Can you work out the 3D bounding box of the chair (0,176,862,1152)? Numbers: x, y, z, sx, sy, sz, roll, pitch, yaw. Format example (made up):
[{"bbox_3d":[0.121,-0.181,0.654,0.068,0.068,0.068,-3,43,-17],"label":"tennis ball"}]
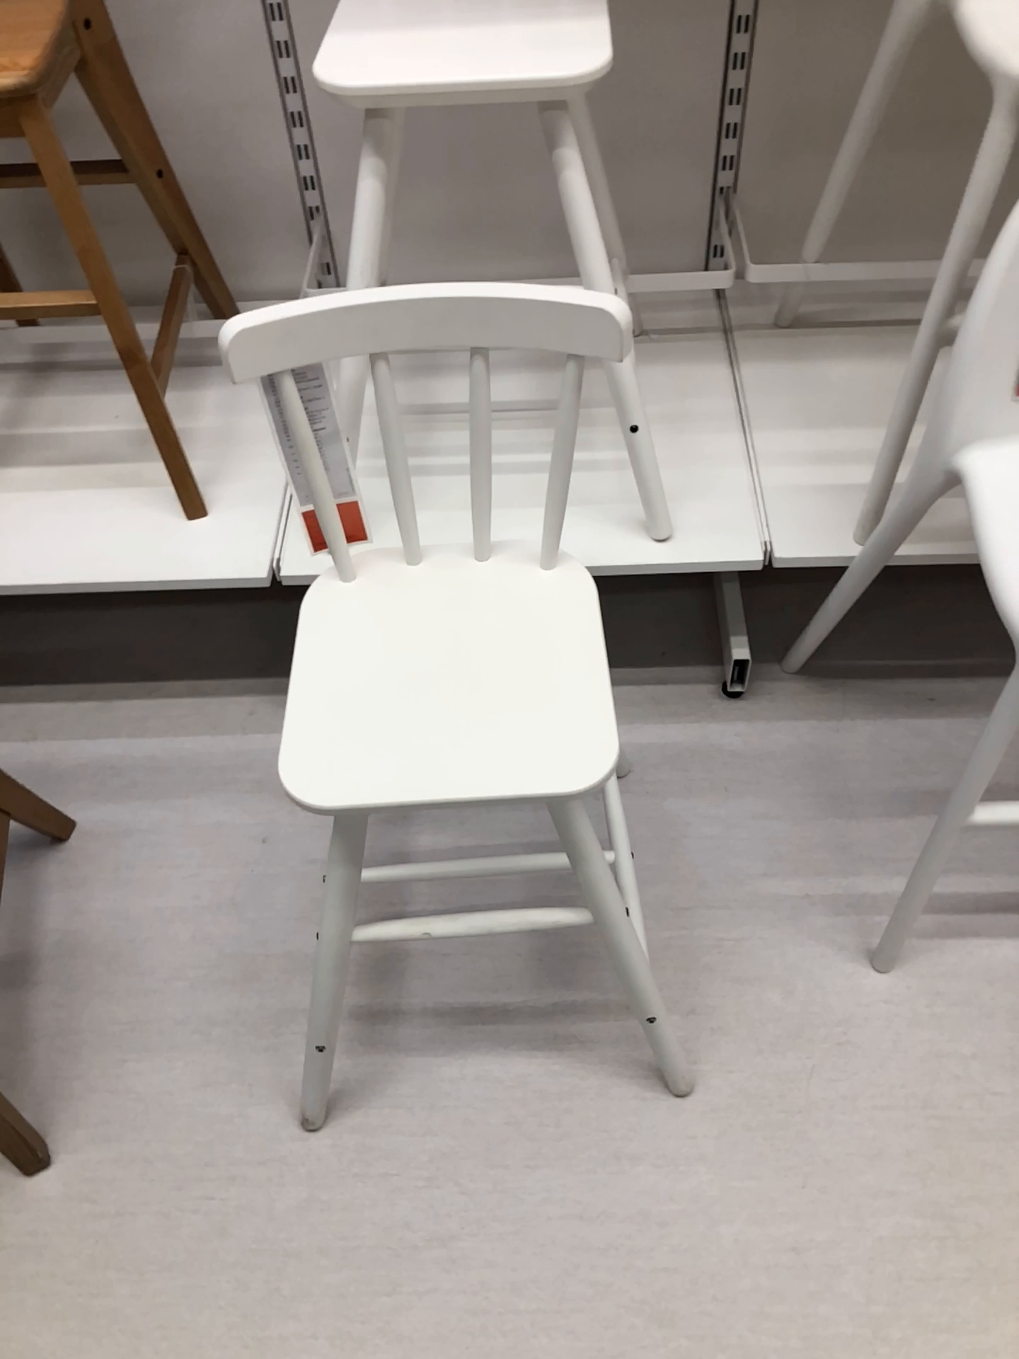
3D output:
[{"bbox_3d":[-0.040,0.050,1.064,0.470,0.795,0.503,-4,50,0],"label":"chair"}]
